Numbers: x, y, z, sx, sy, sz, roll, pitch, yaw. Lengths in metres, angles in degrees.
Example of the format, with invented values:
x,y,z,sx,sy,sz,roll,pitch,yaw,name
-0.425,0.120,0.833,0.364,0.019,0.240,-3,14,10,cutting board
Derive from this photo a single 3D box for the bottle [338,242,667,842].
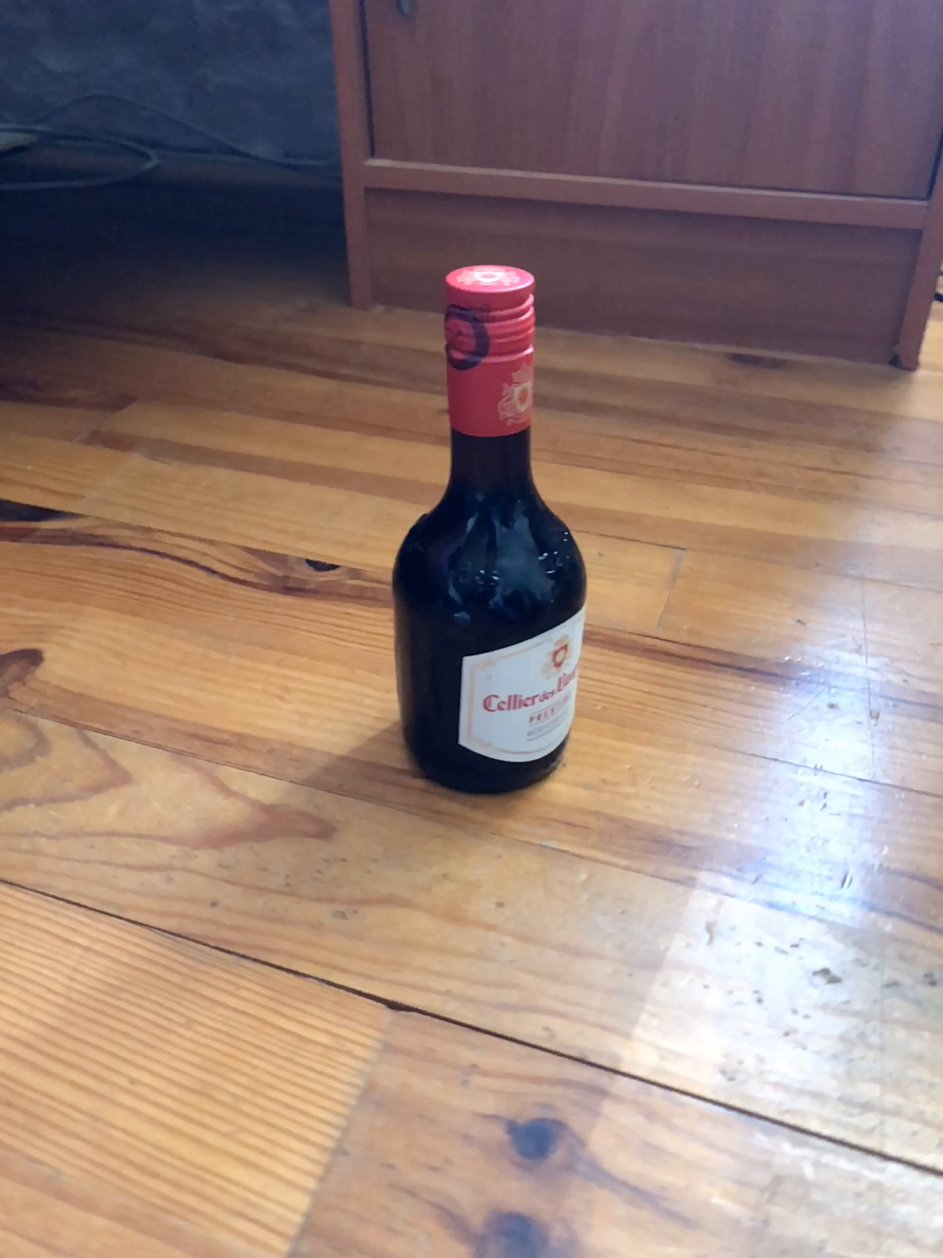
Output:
x,y,z,sx,sy,sz,roll,pitch,yaw,name
0.009,-0.026,0.337,0.060,0.169,0.070,28,42,35,bottle
